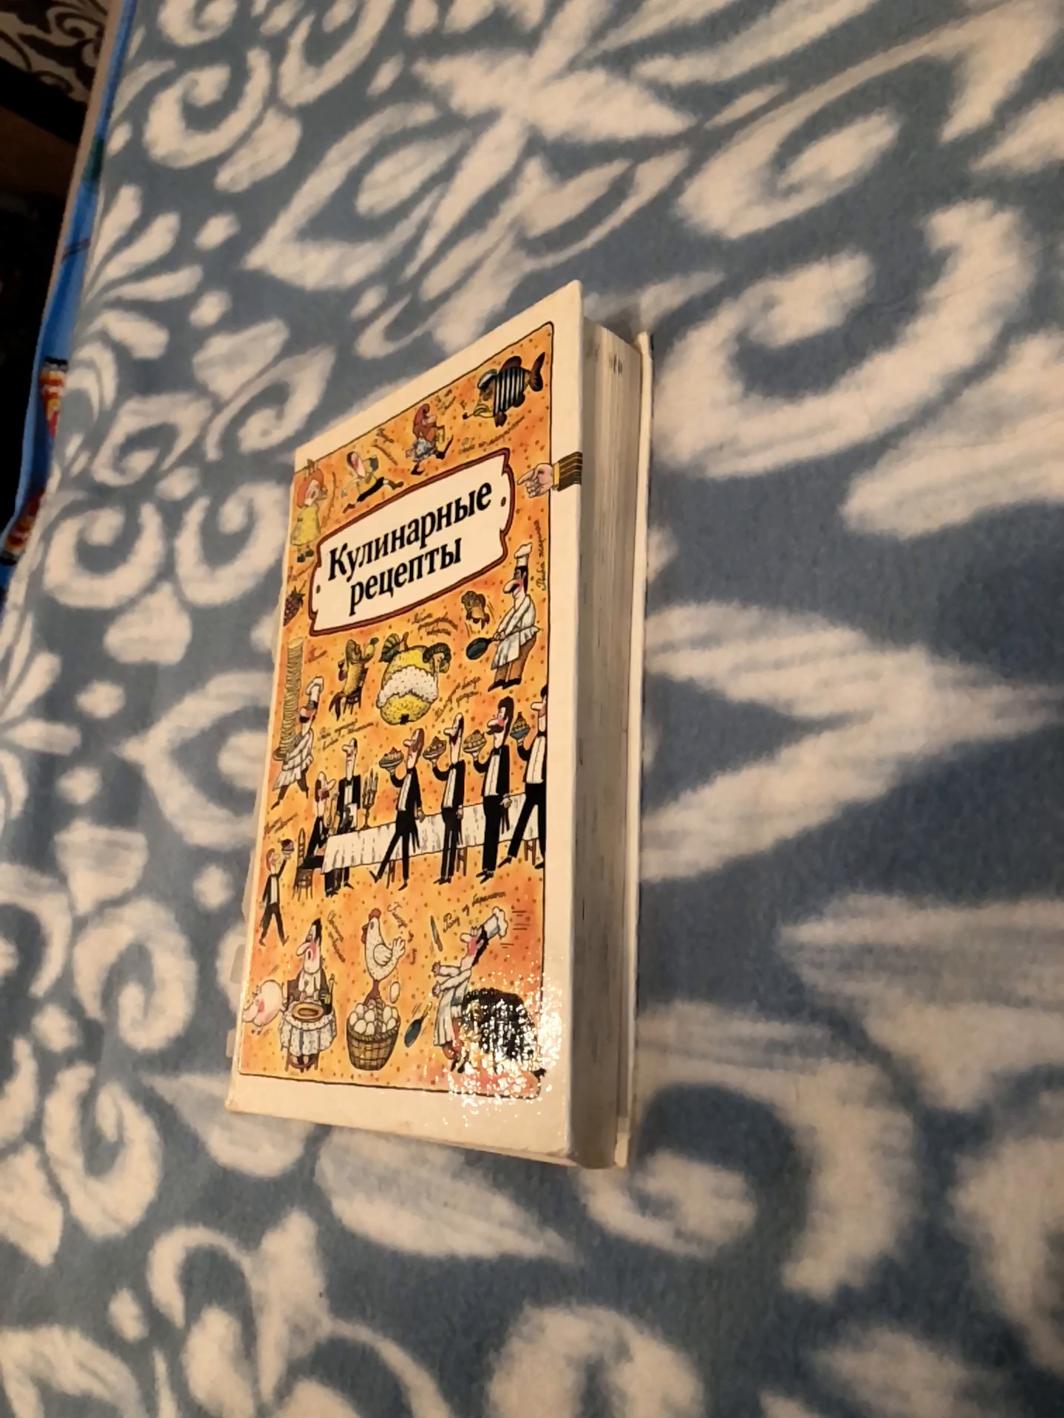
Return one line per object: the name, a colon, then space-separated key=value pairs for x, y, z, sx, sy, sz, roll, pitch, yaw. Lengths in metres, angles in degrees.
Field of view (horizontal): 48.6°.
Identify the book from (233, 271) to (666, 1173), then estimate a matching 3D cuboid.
book: x=-0.026 y=0.008 z=0.339 sx=0.142 sy=0.032 sz=0.220 roll=-15 pitch=67 yaw=46
